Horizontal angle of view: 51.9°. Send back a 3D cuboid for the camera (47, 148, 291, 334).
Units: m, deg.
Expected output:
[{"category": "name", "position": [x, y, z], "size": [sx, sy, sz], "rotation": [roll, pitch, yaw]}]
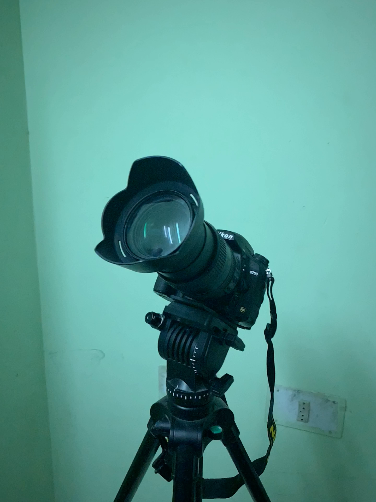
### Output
[{"category": "camera", "position": [0.000, 0.000, 0.455], "size": [0.152, 0.120, 0.247], "rotation": [11, -14, 33]}]
